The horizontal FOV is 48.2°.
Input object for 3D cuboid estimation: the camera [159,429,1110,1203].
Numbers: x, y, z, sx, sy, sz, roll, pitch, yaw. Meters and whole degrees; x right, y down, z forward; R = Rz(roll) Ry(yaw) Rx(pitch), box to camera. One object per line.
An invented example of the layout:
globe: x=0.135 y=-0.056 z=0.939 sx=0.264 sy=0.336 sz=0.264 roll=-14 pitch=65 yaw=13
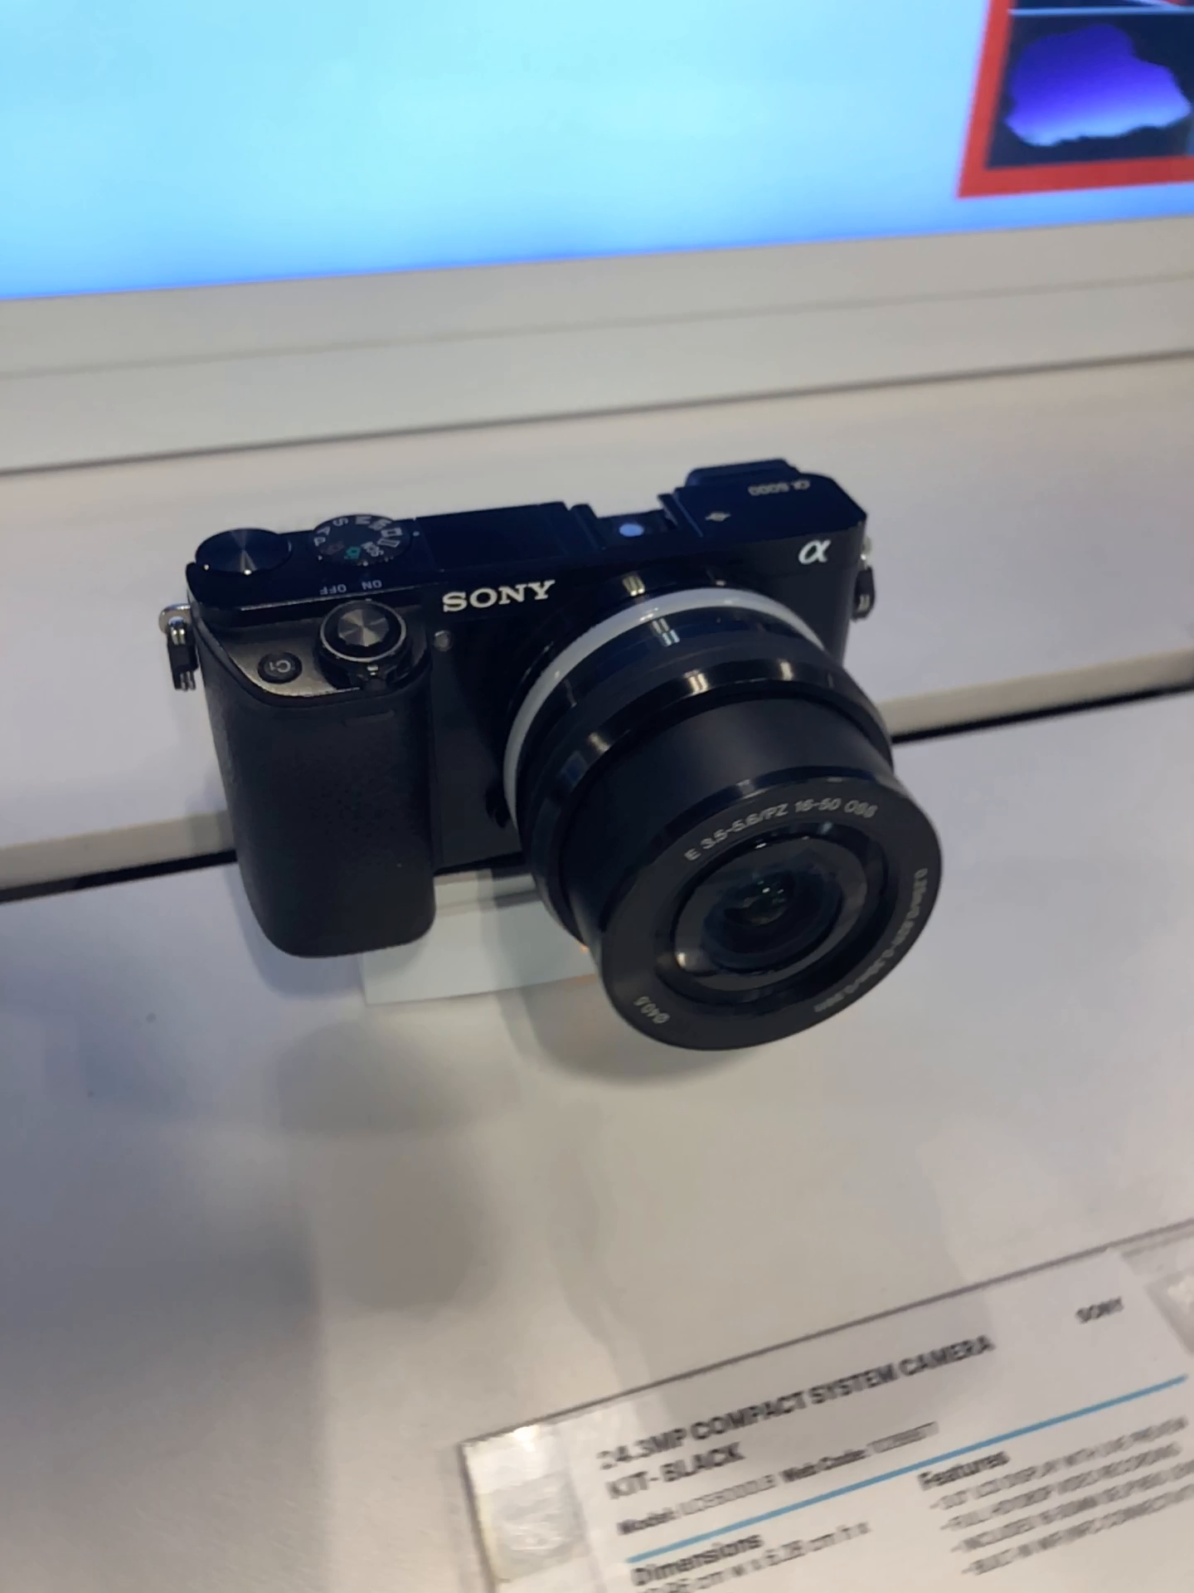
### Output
camera: x=-0.002 y=-0.006 z=0.241 sx=0.130 sy=0.070 sz=0.101 roll=-11 pitch=40 yaw=-15
